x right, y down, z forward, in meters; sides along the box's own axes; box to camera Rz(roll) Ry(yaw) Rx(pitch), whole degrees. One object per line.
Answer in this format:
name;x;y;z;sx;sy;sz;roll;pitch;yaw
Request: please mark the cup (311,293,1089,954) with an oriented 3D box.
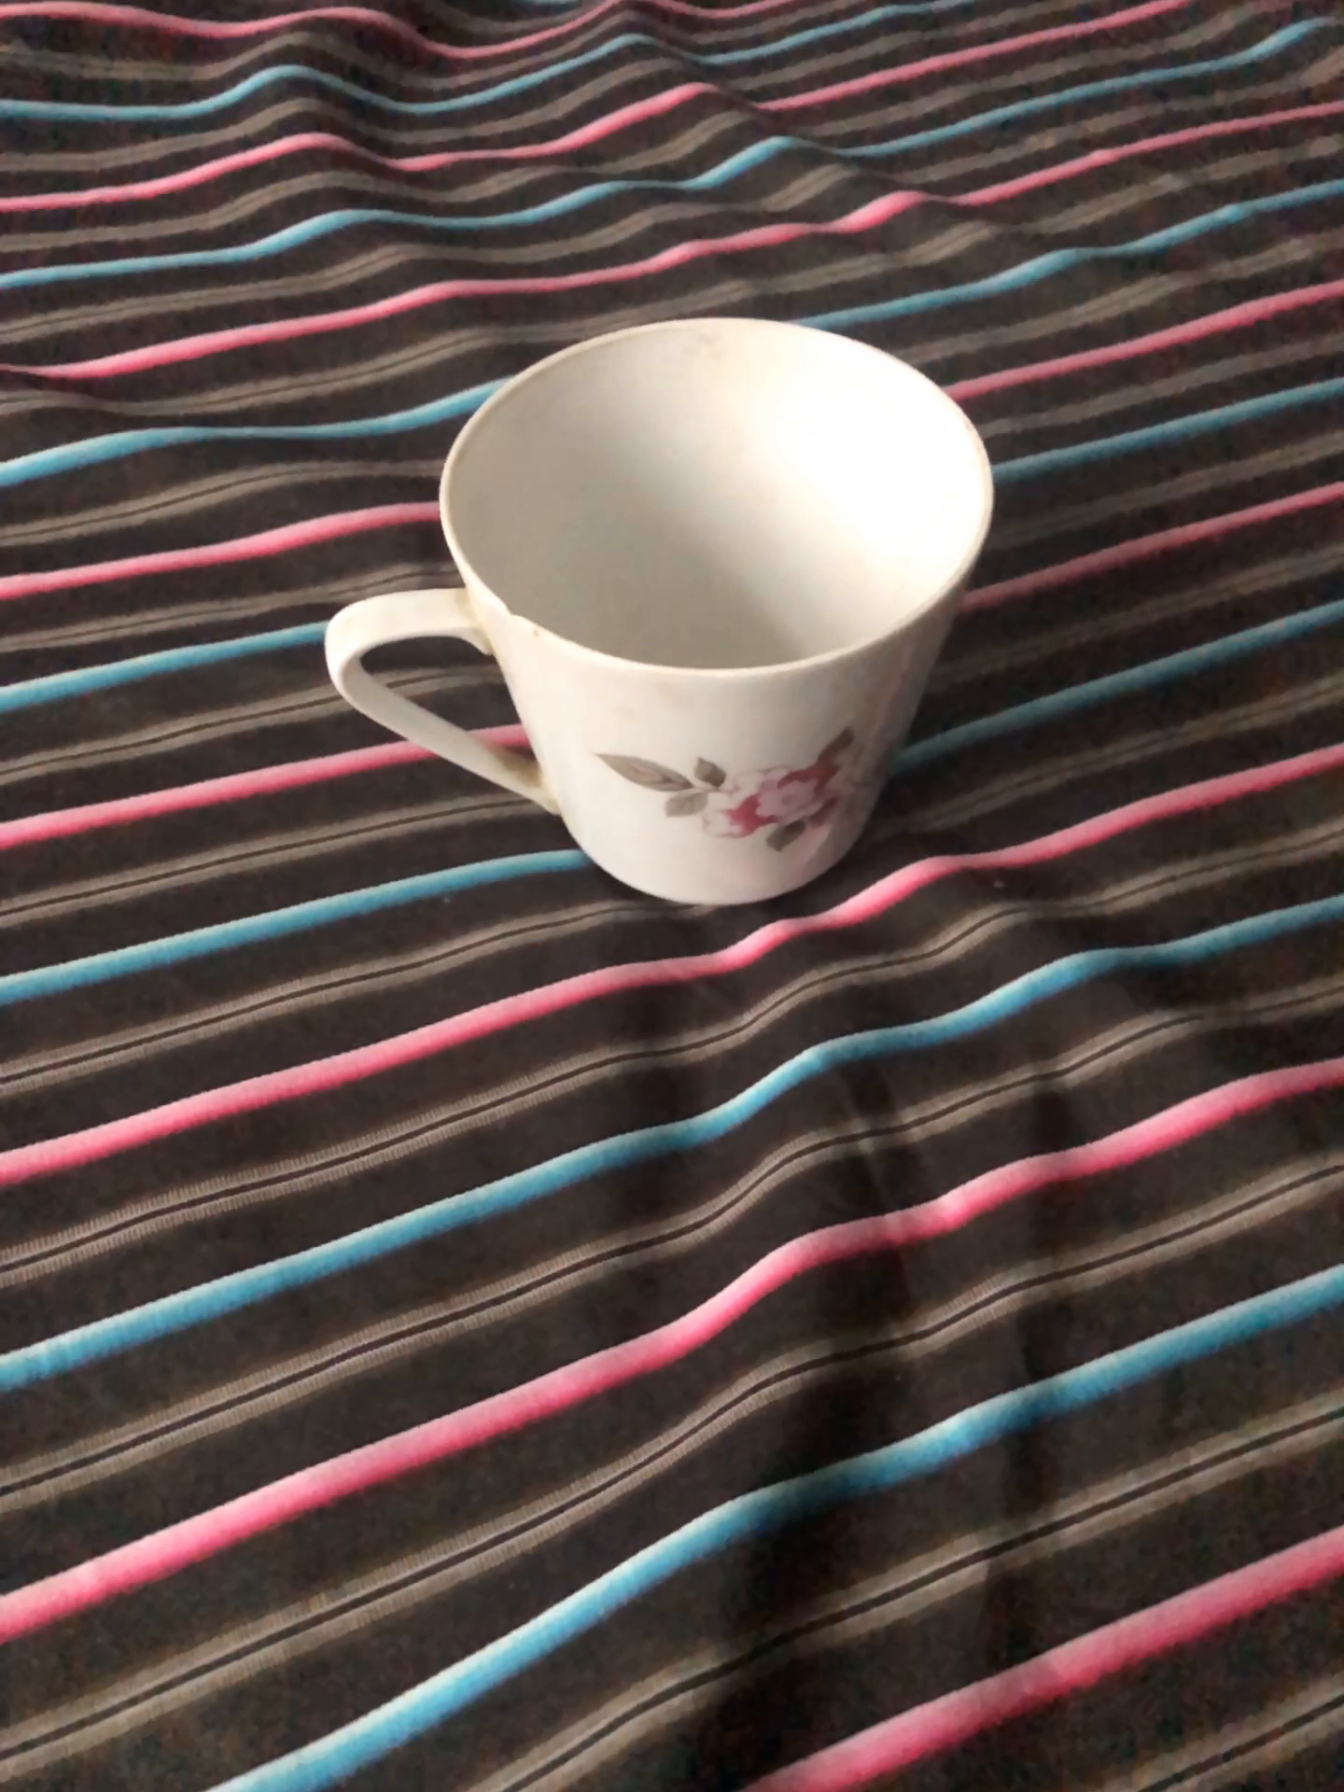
cup;0.000;-0.041;0.221;0.094;0.049;0.074;-7;56;-4
